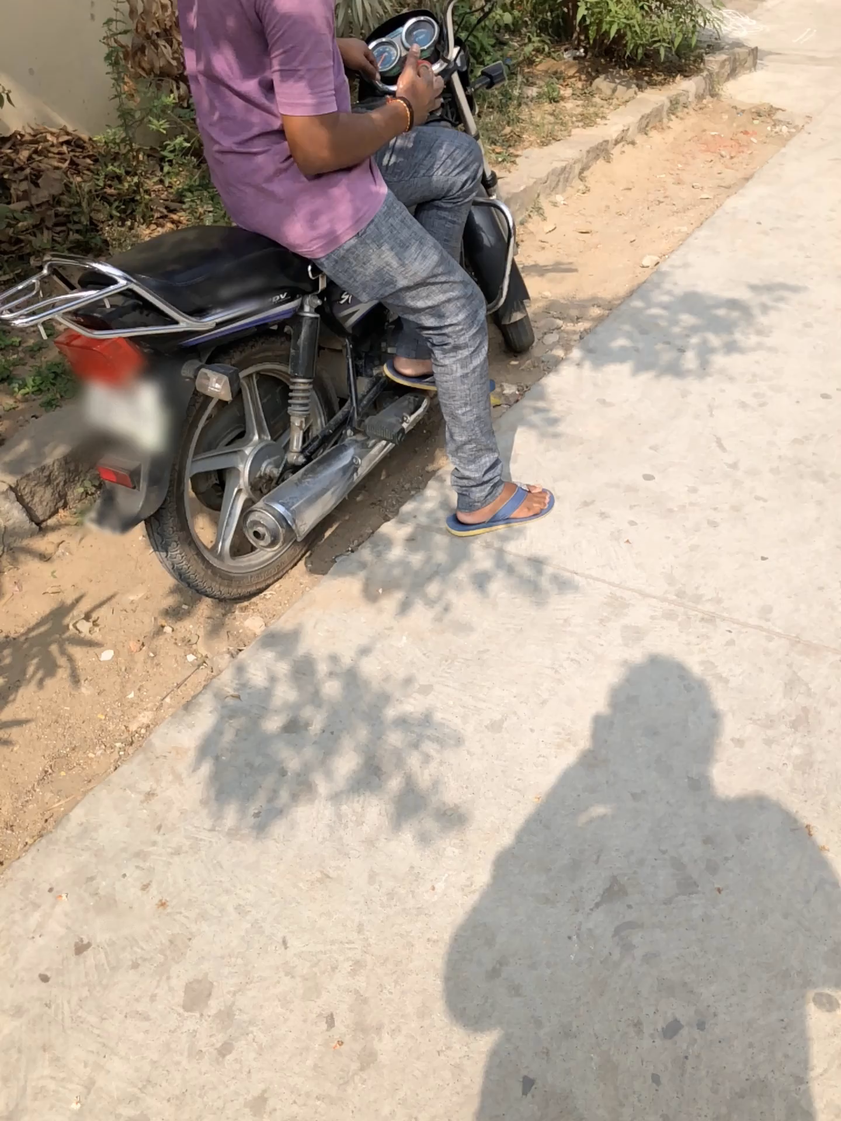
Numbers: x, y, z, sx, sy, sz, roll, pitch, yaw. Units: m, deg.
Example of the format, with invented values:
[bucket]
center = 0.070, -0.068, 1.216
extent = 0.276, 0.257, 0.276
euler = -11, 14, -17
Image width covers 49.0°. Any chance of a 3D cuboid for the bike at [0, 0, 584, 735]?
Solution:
[bike]
center = -0.233, -0.806, 2.368
extent = 0.769, 1.294, 1.771
euler = 14, 47, 20
